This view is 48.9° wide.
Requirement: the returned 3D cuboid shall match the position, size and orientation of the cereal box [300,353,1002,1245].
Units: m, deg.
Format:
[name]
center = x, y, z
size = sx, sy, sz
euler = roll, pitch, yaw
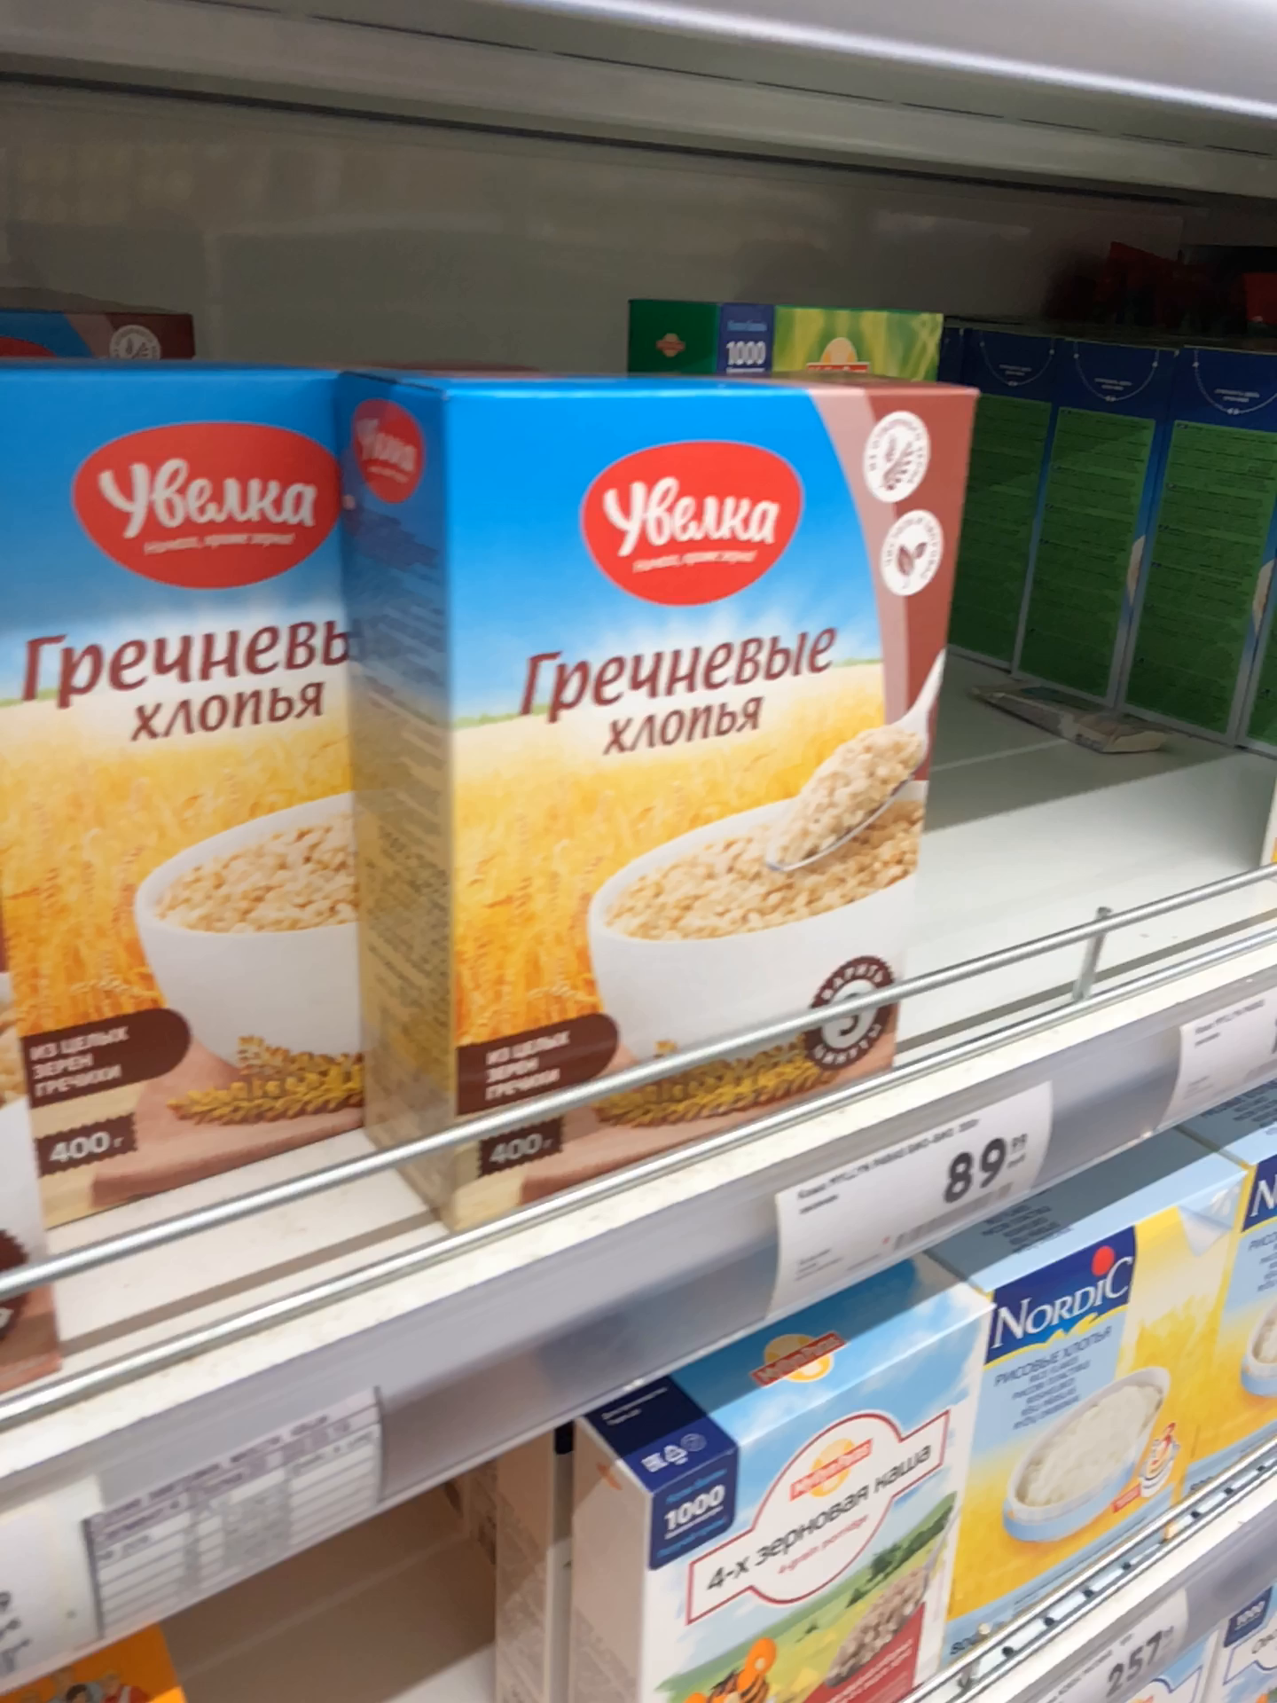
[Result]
[cereal box]
center = 0.004, -0.022, 0.350
size = 0.150, 0.189, 0.060
euler = -12, 26, -32
